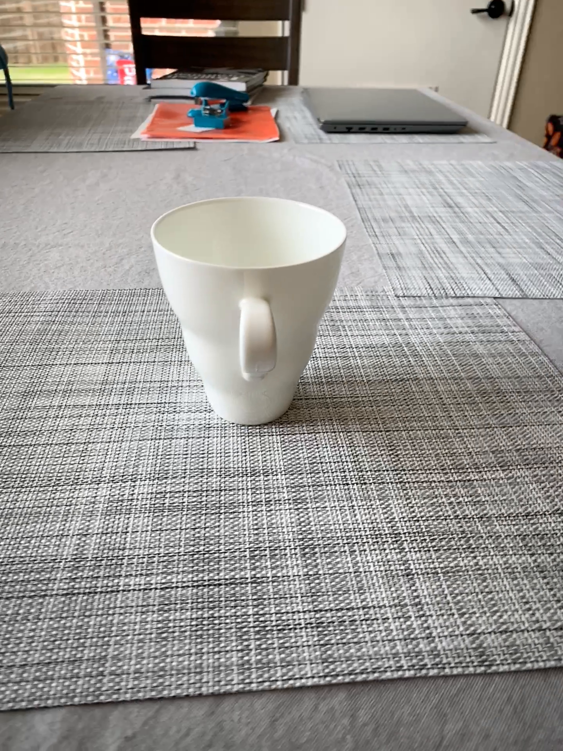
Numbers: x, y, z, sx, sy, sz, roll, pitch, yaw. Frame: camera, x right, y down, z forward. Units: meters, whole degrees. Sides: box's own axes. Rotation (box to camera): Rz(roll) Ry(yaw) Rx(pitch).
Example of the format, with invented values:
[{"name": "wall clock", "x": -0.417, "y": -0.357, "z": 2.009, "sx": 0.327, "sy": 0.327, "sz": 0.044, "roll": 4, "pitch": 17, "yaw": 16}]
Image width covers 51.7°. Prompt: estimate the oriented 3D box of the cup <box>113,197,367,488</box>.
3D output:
[{"name": "cup", "x": -0.020, "y": -0.024, "z": 0.302, "sx": 0.098, "sy": 0.098, "sz": 0.121, "roll": -3, "pitch": 34, "yaw": -3}]
